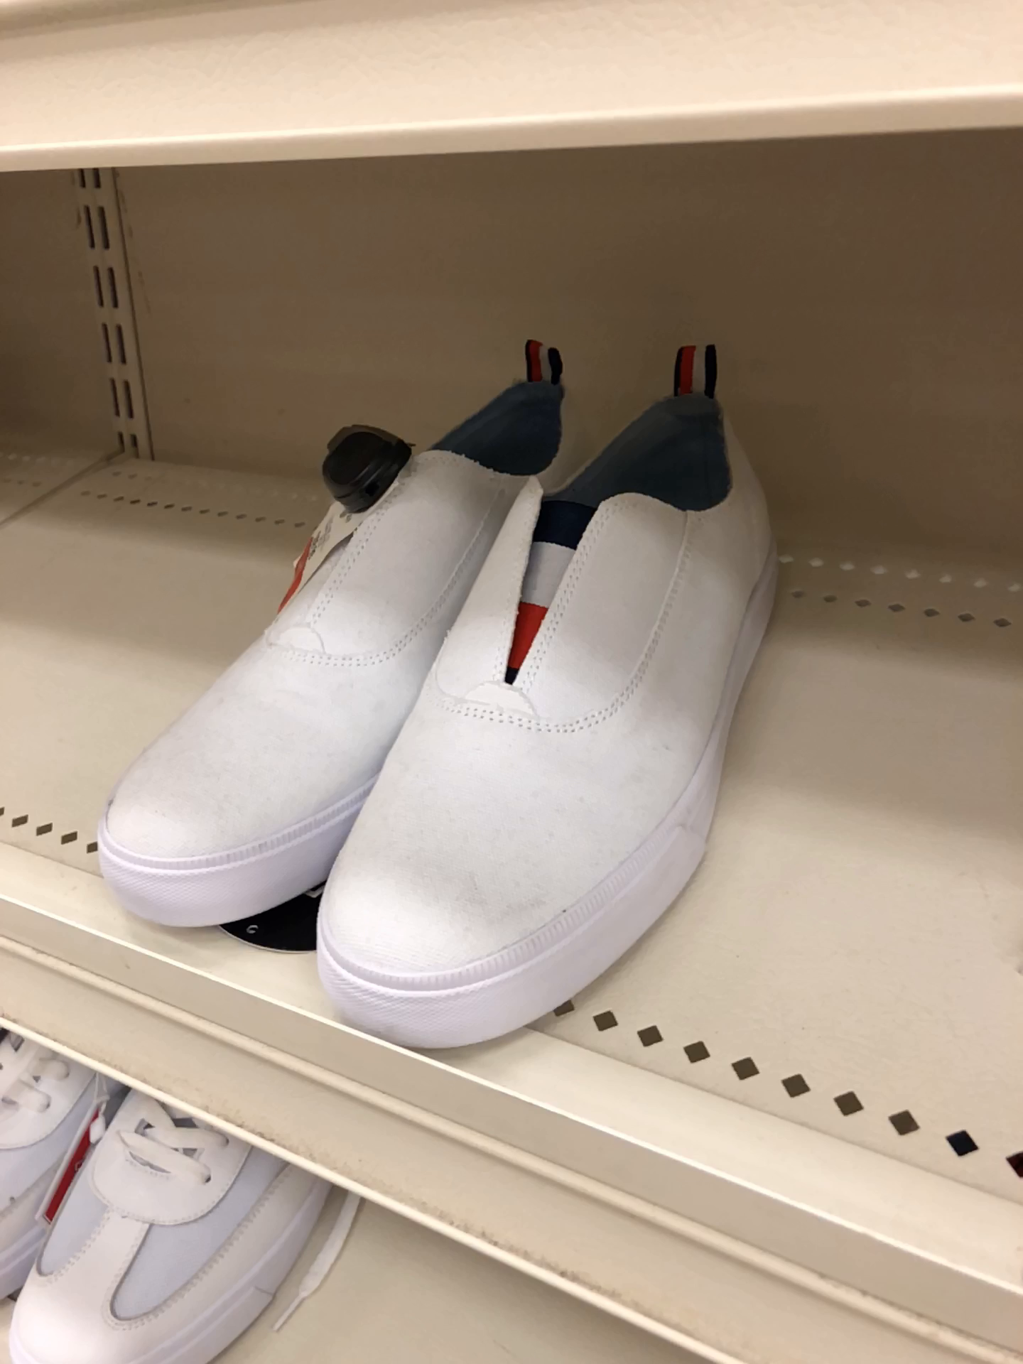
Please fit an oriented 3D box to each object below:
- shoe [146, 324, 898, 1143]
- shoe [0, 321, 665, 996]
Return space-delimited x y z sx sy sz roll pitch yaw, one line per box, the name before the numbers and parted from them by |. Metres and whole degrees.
shoe | 0.037 -0.020 0.379 0.100 0.109 0.302 11 37 28
shoe | -0.052 -0.039 0.400 0.100 0.089 0.292 11 37 28
